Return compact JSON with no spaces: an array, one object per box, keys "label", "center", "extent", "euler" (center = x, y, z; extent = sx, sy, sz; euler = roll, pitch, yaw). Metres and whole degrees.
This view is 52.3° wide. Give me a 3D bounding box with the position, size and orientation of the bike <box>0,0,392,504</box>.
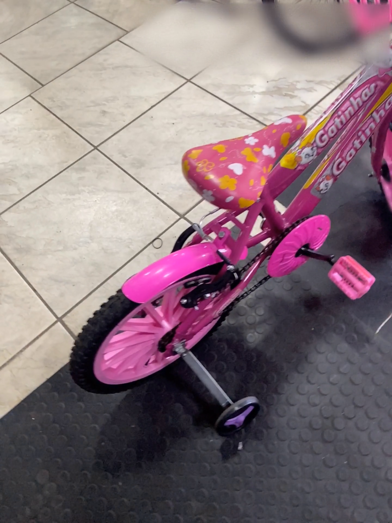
[{"label":"bike","center":[0.113,-0.166,0.720],"extent":[0.940,0.790,0.466],"euler":[-40,61,-17]}]
